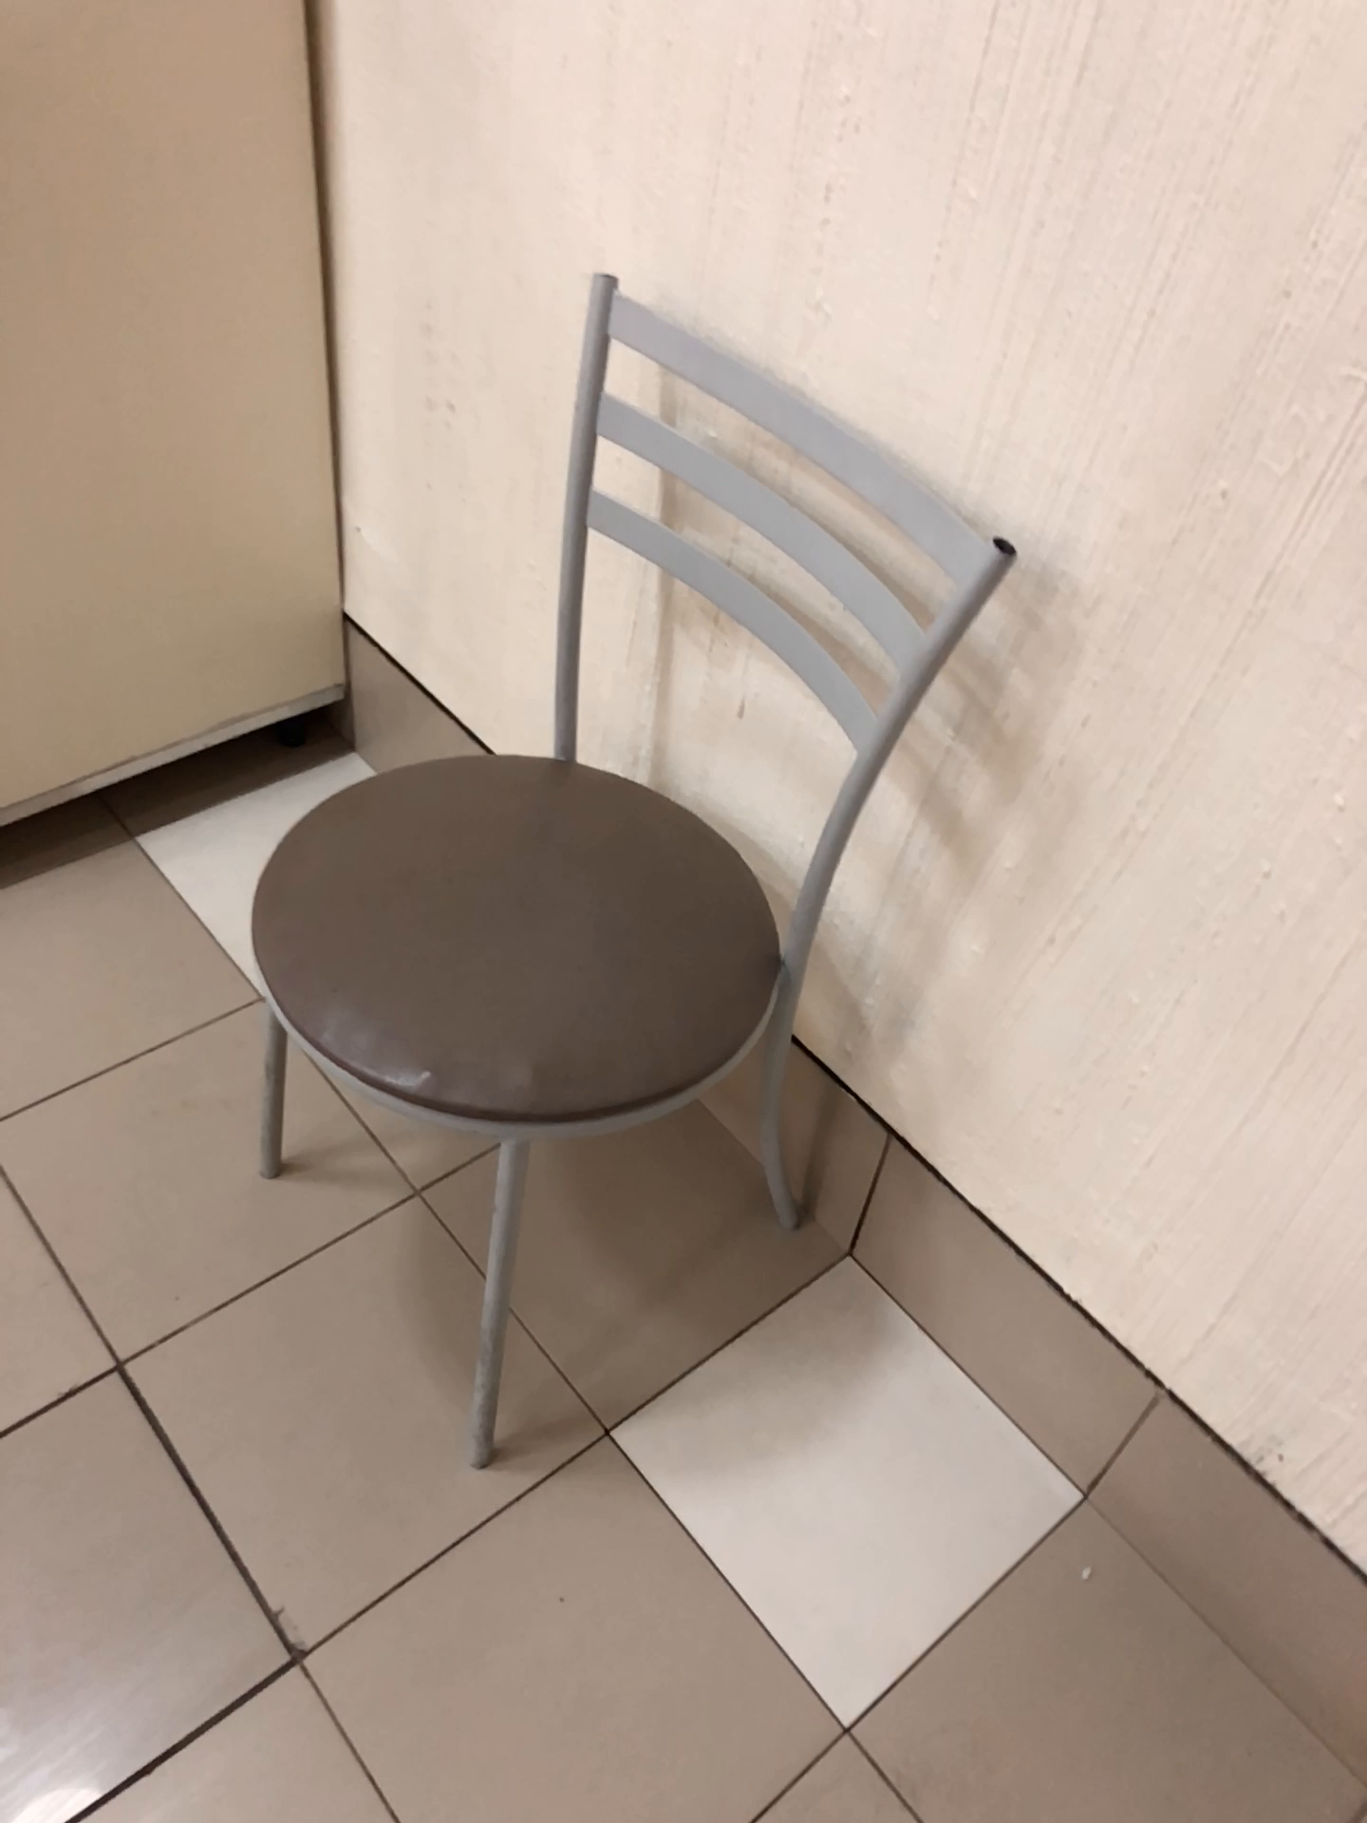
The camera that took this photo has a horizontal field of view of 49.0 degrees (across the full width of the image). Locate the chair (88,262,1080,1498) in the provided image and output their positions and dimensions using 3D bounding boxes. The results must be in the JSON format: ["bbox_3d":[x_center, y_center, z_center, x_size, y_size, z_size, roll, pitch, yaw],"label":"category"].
[{"bbox_3d":[-0.102,-0.002,1.169,0.422,0.765,0.431,-28,56,-32],"label":"chair"}]
